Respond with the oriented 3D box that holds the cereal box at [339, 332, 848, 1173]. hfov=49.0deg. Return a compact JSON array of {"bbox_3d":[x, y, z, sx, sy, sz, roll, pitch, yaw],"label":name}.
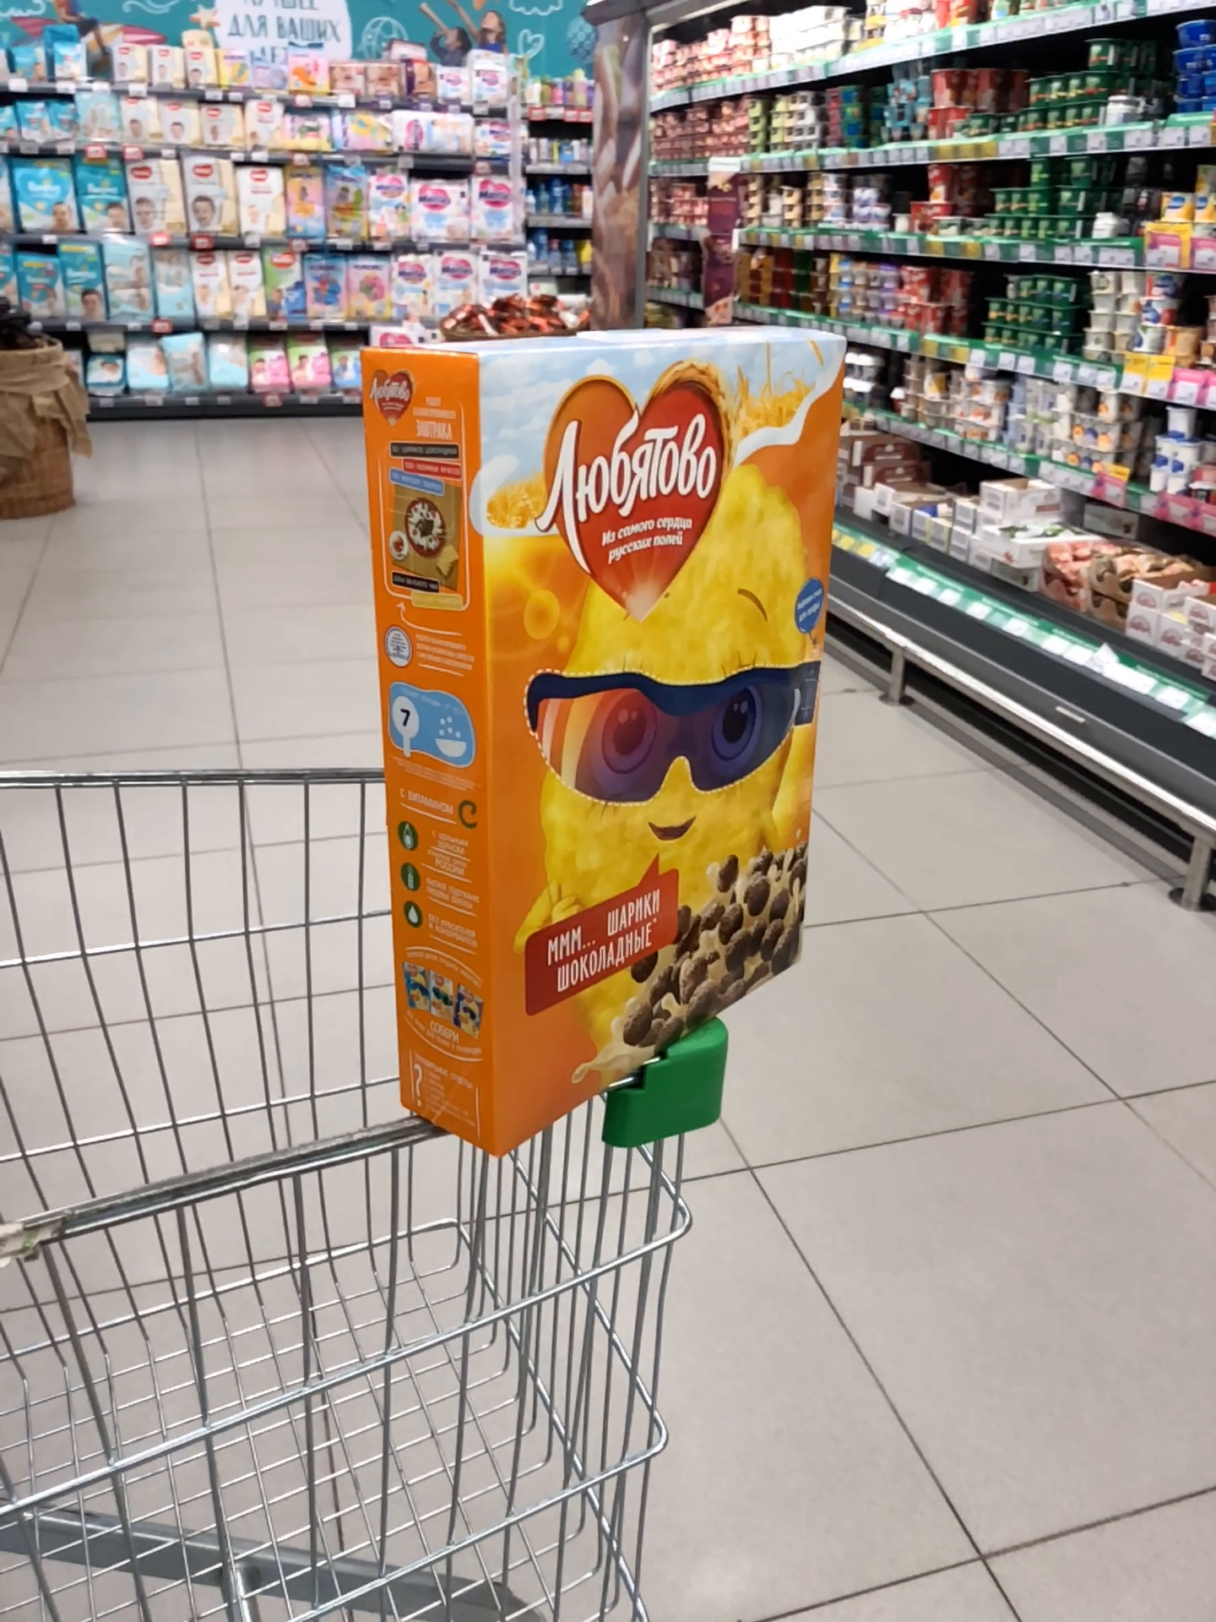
[{"bbox_3d":[0.004,-0.035,0.482,0.050,0.259,0.201,16,25,36],"label":"cereal box"}]
